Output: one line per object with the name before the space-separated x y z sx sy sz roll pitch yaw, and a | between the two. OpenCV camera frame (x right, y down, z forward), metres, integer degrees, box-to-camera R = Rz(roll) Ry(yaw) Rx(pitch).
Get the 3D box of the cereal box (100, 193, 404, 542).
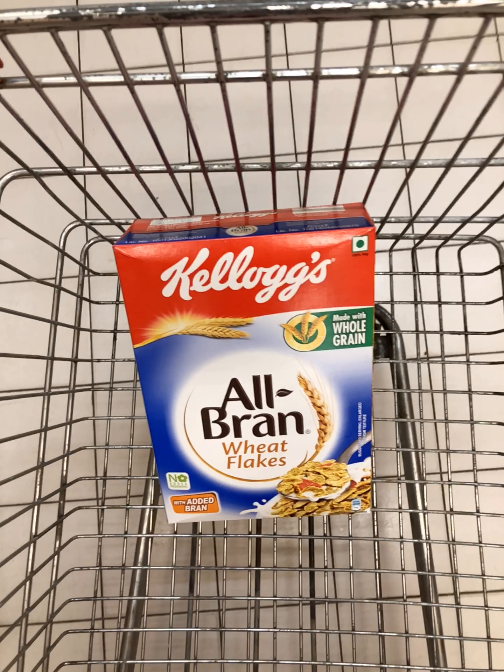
cereal box | 0.008 0.036 0.448 0.190 0.080 0.270 -3 119 2
